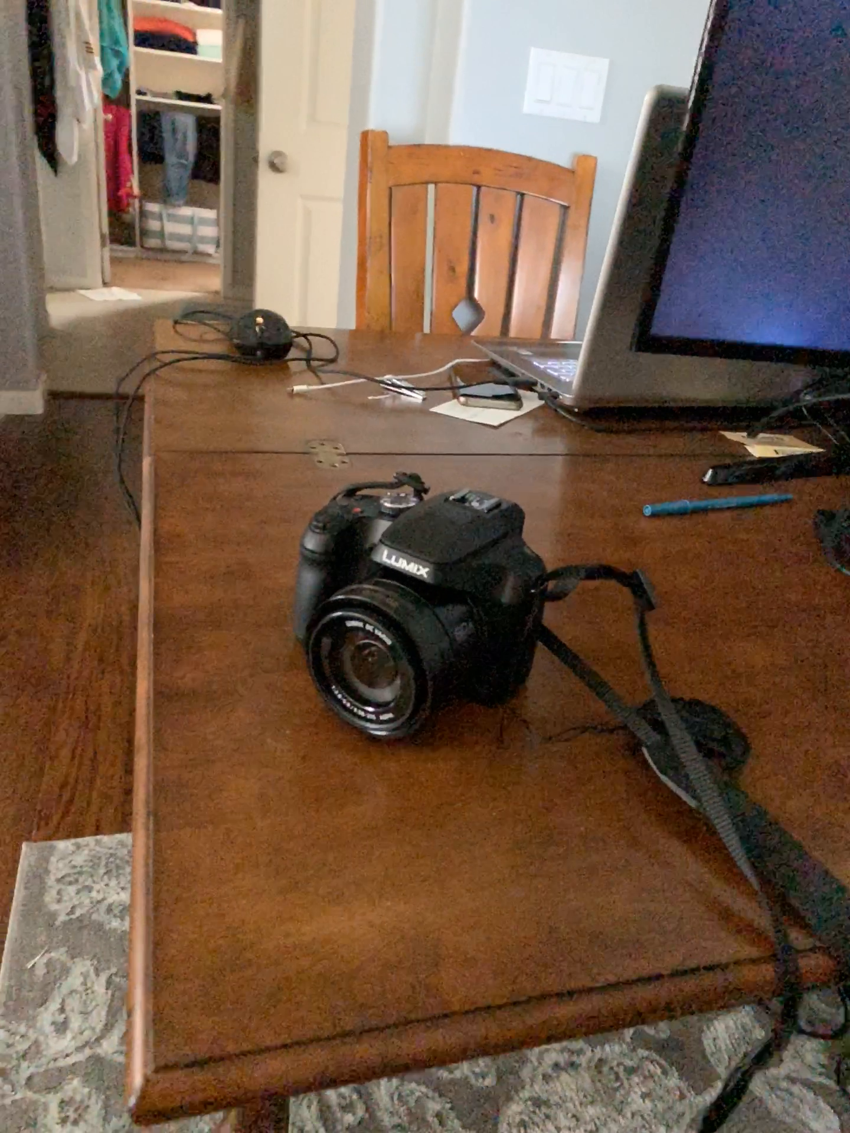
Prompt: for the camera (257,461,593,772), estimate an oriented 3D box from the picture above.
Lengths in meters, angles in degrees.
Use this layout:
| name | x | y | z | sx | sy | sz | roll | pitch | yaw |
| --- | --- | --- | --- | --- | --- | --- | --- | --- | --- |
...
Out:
| name | x | y | z | sx | sy | sz | roll | pitch | yaw |
| --- | --- | --- | --- | --- | --- | --- | --- | --- | --- |
| camera | 0.000 | 0.017 | 0.458 | 0.130 | 0.089 | 0.111 | 20 | 29 | 24 |
